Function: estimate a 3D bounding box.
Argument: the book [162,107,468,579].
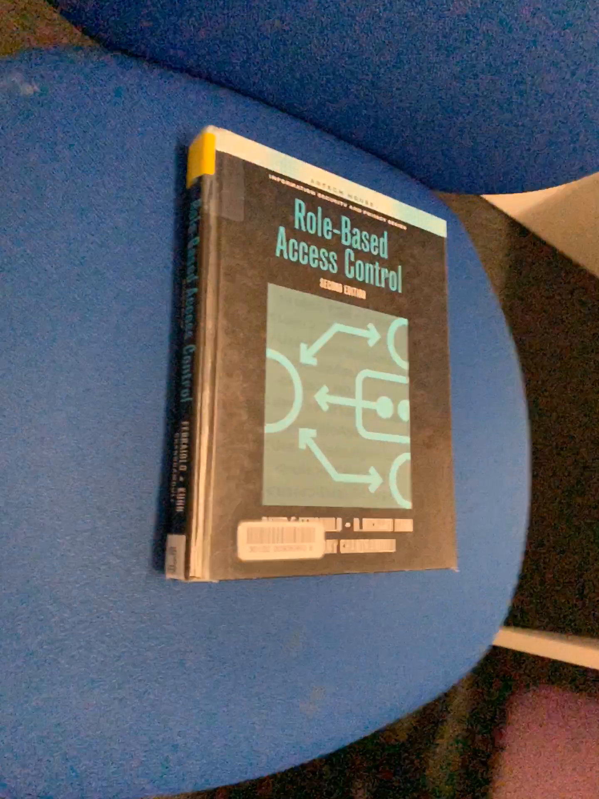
[{"bbox_3d":[0.022,-0.022,0.366,0.190,0.030,0.240,9,76,-34],"label":"book"}]
